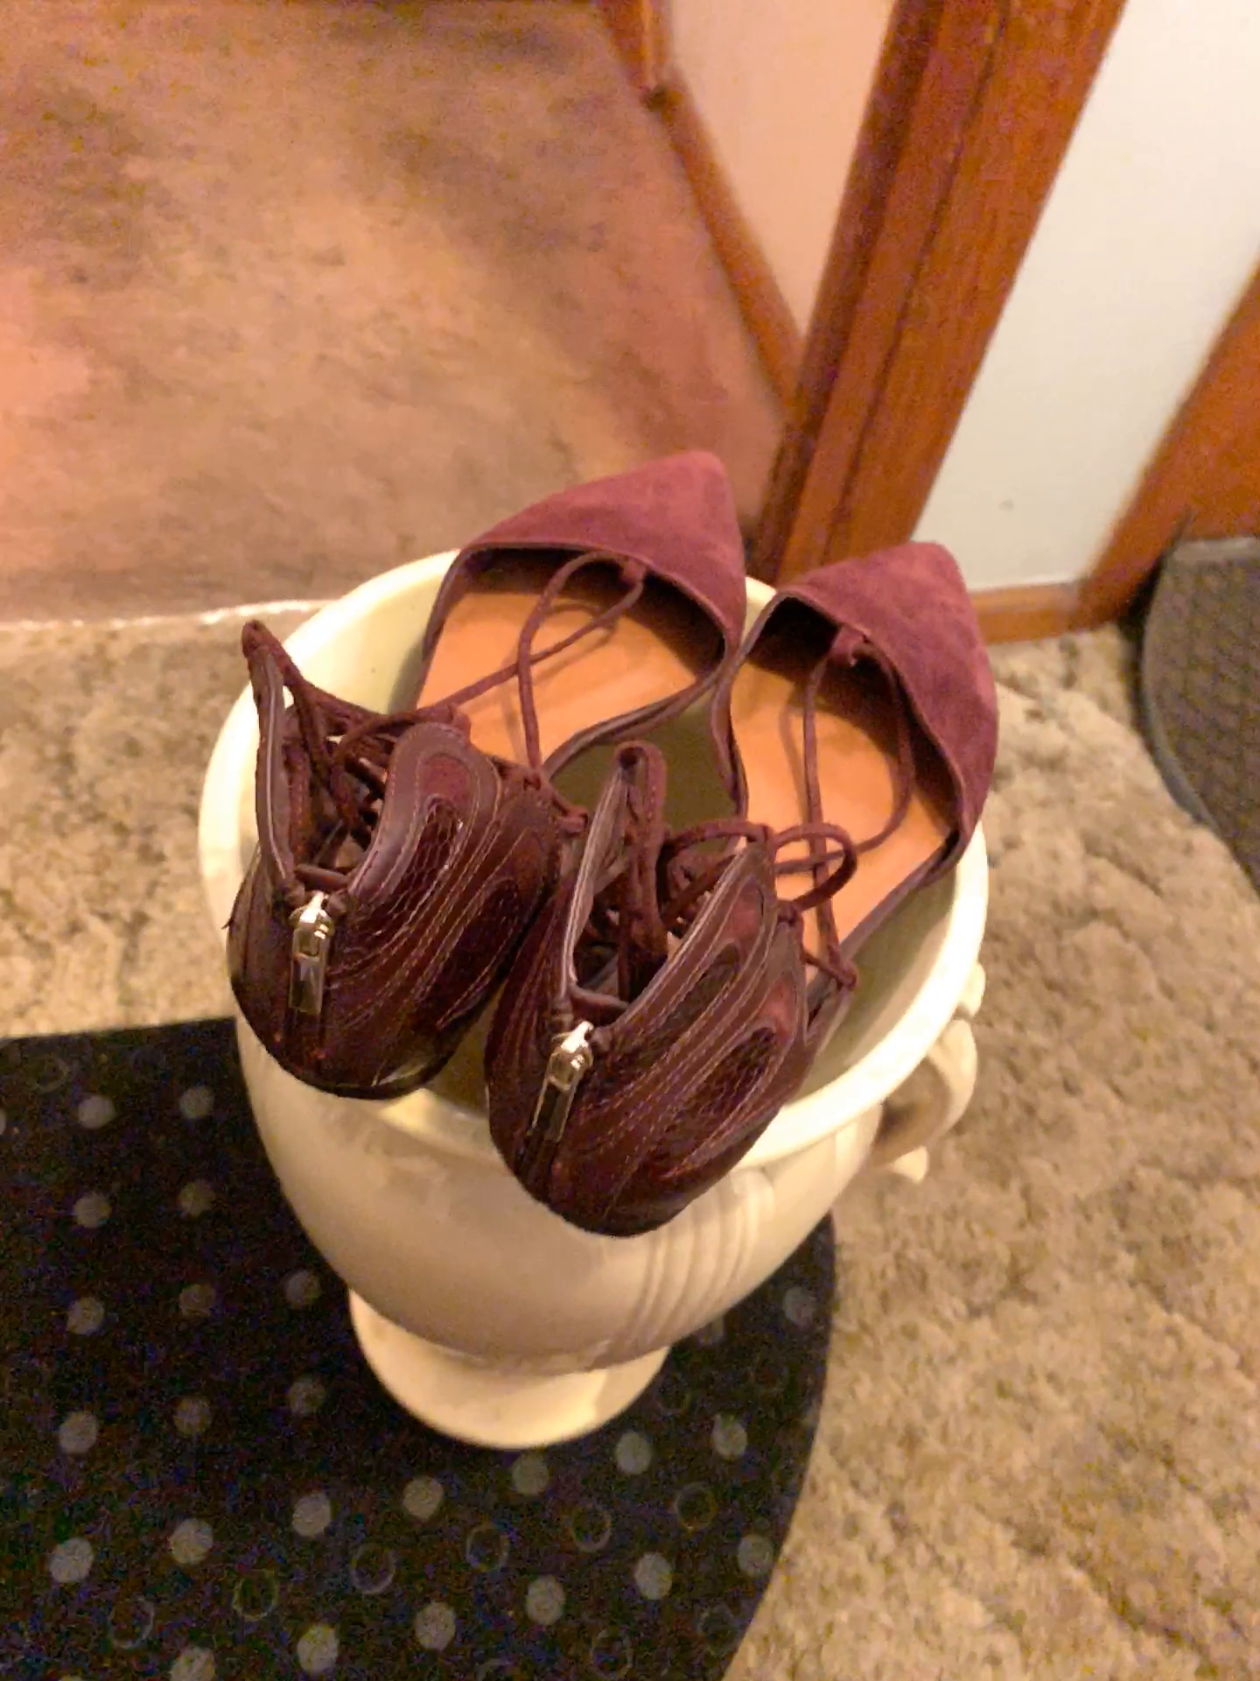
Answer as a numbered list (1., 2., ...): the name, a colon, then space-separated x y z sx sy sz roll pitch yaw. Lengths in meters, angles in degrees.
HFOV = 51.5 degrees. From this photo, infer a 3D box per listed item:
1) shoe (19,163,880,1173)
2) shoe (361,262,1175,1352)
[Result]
1. shoe: -0.027 -0.061 0.352 0.092 0.099 0.262 23 56 7
2. shoe: 0.045 -0.025 0.334 0.092 0.099 0.262 26 56 9
